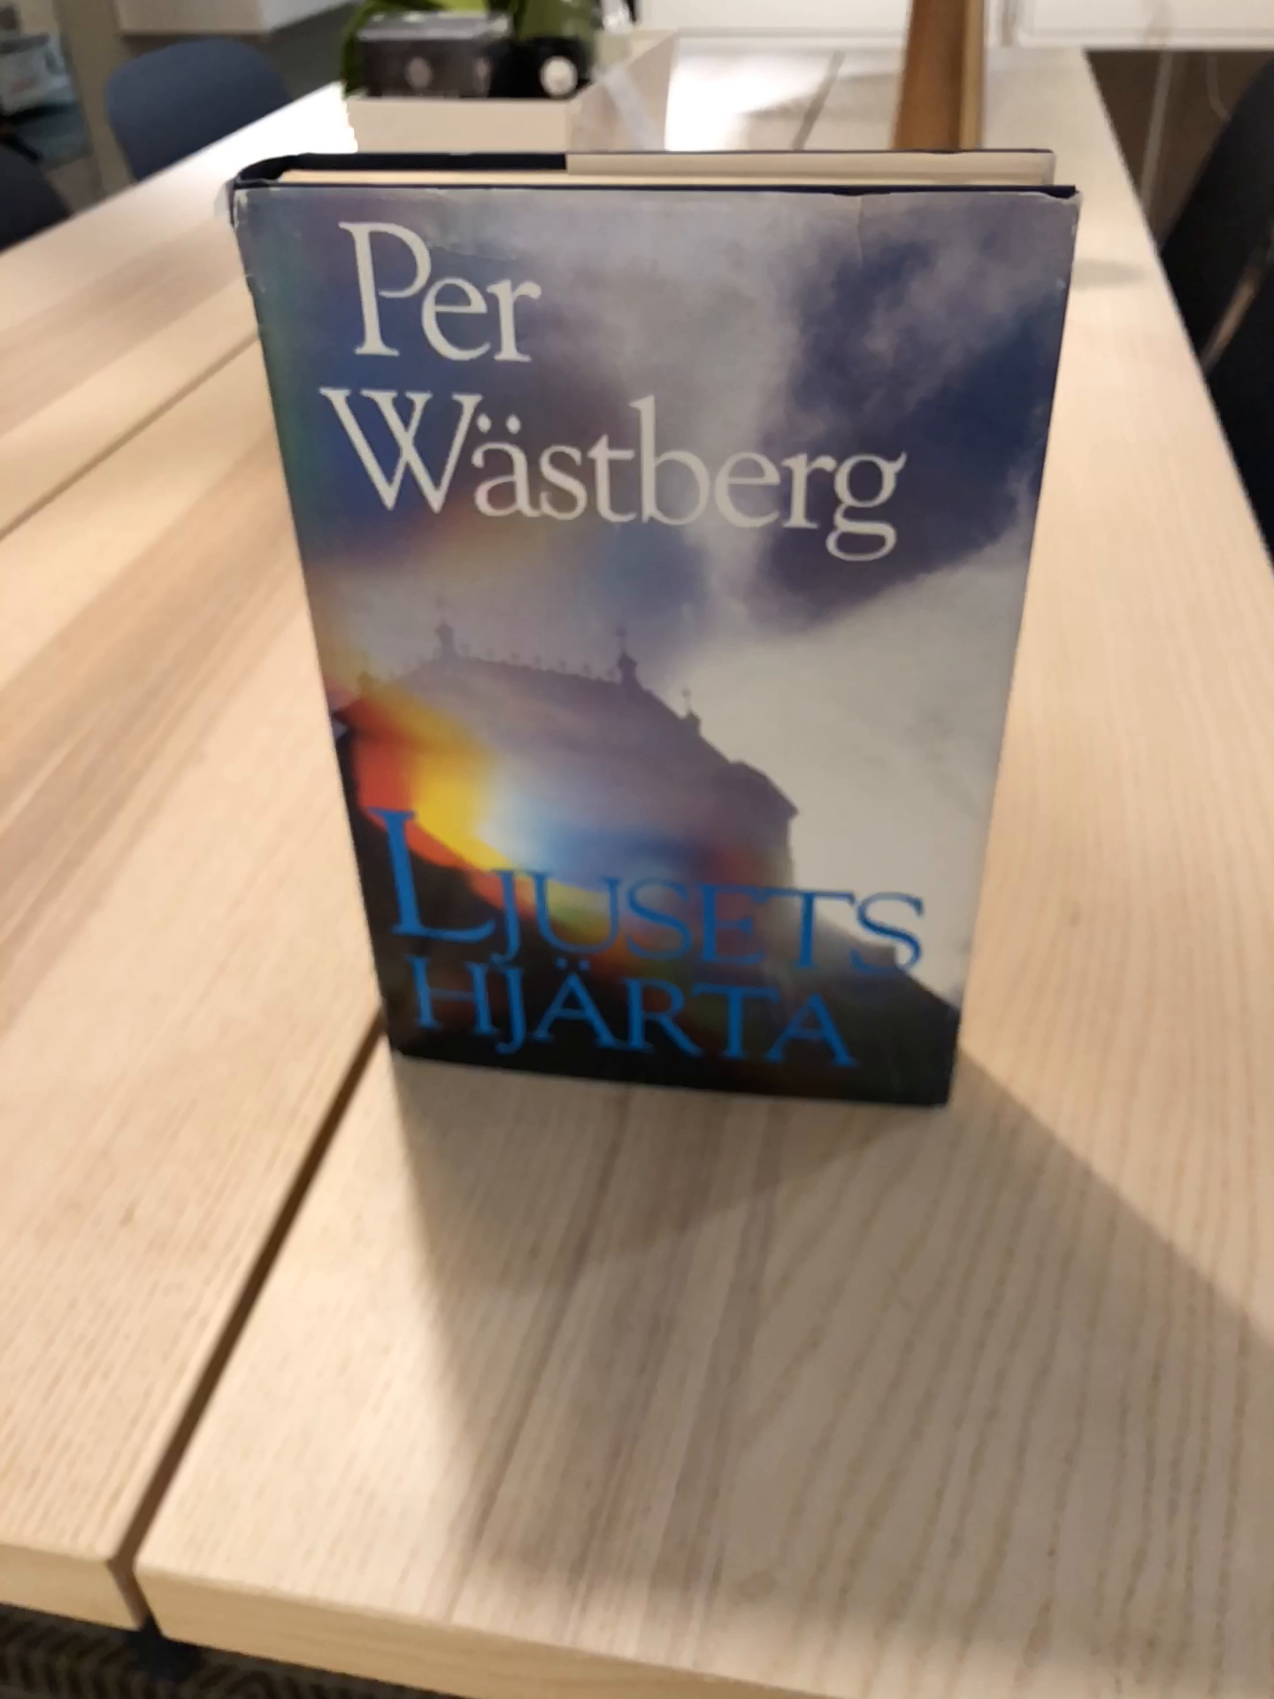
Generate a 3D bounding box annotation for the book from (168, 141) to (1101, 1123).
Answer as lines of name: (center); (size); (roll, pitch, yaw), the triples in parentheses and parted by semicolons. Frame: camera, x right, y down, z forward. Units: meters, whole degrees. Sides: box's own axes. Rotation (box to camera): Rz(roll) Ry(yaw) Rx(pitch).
book: (0.002, -0.038, 0.333); (0.166, 0.221, 0.042); (4, 36, 9)
